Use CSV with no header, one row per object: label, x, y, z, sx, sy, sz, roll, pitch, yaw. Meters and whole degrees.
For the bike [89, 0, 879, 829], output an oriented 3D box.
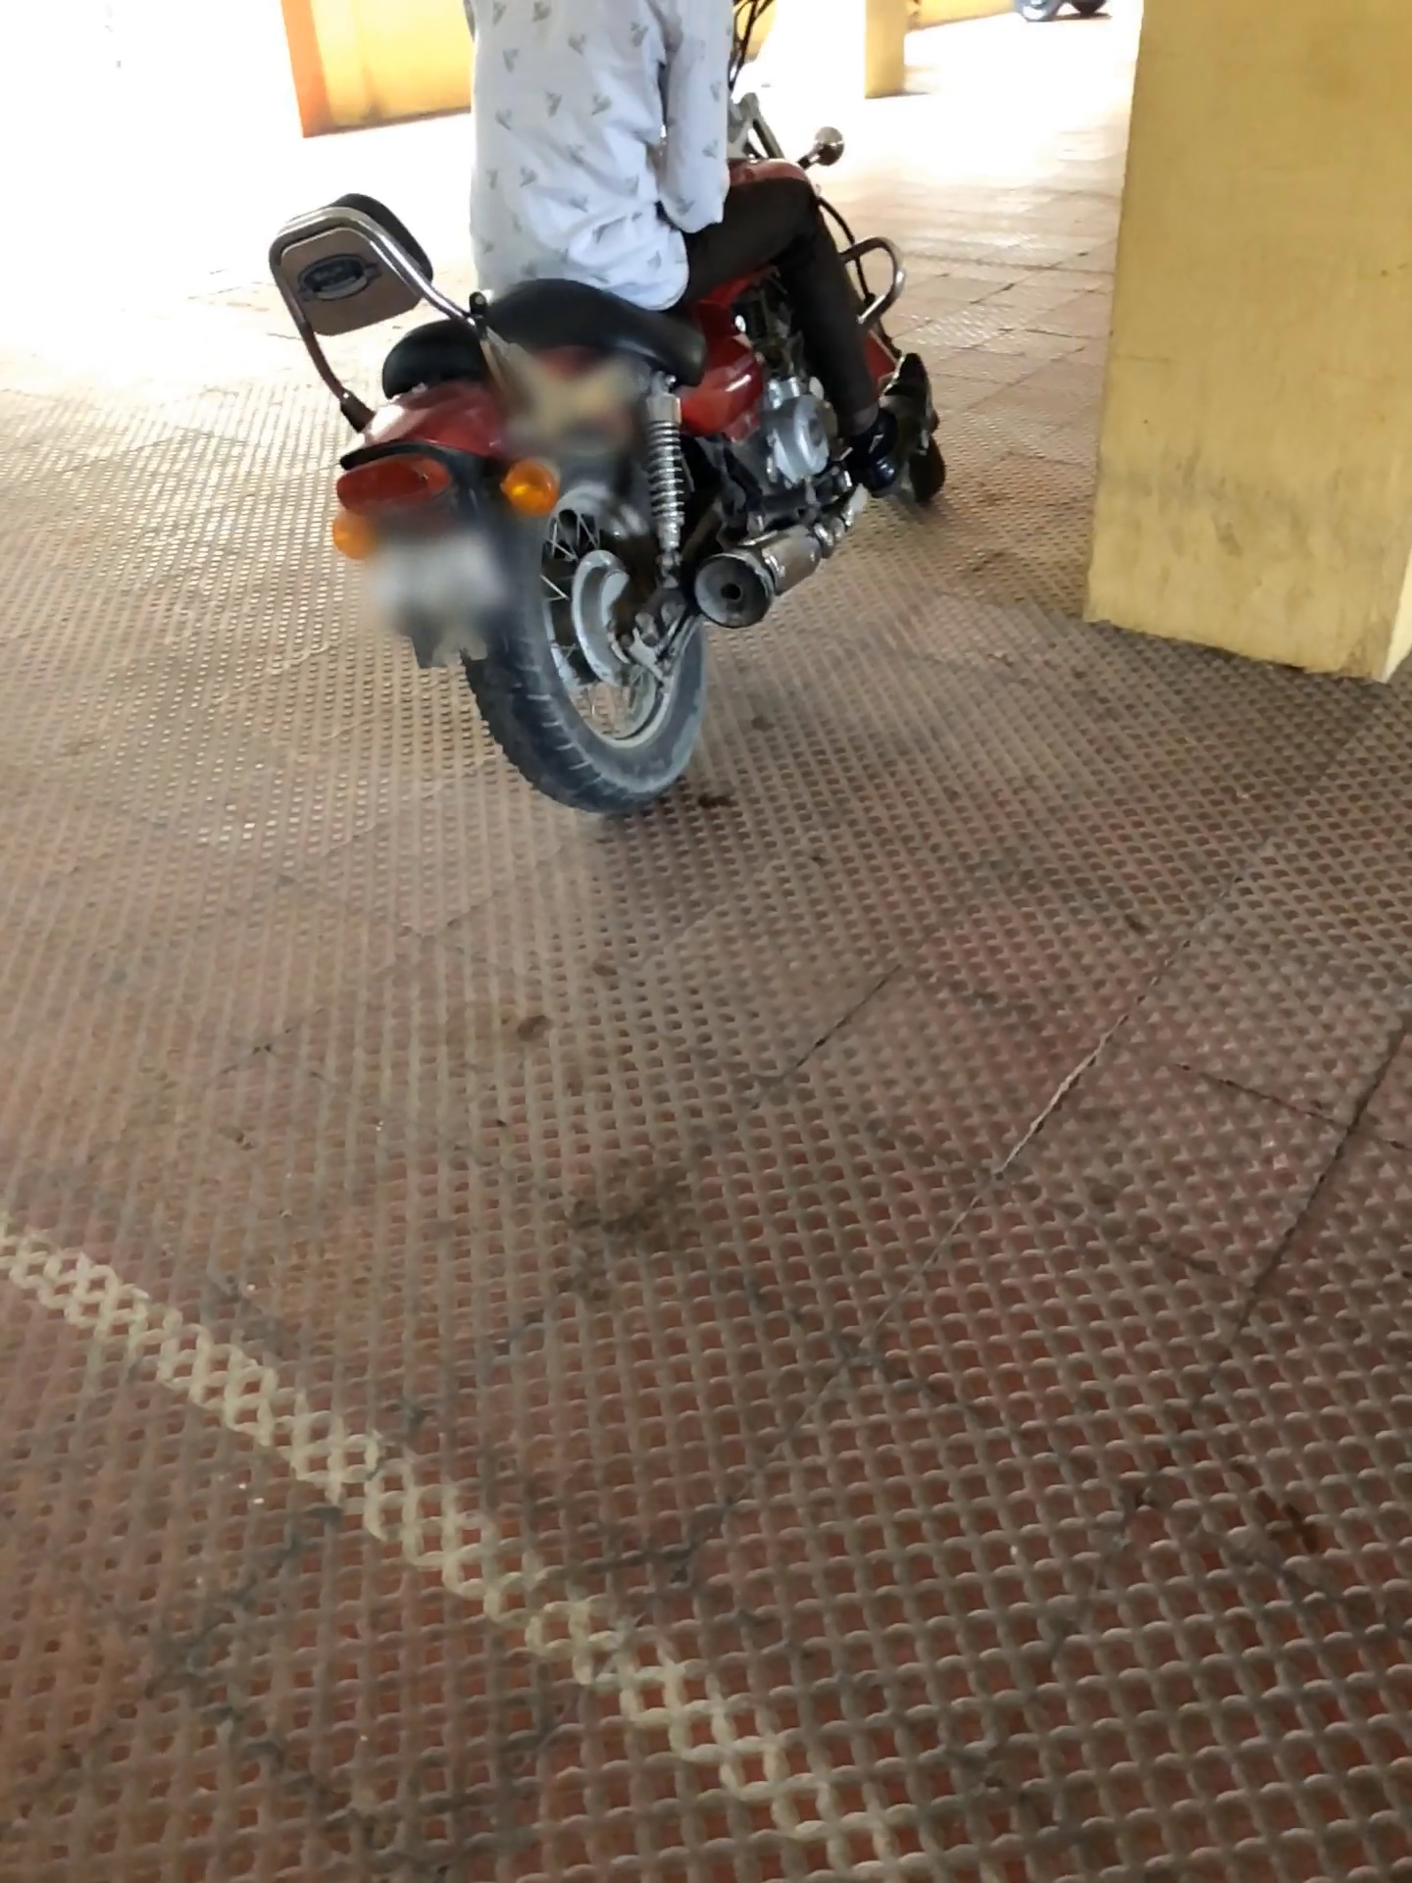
bike,-0.180,-1.208,2.541,0.756,1.048,1.659,5,41,11
